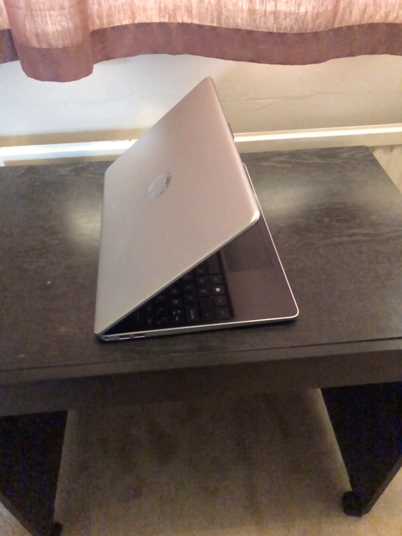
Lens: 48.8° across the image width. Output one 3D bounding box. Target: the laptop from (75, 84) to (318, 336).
[{"bbox_3d":[-0.020,-0.107,0.605,0.236,0.141,0.363,-4,43,-6],"label":"laptop"}]
